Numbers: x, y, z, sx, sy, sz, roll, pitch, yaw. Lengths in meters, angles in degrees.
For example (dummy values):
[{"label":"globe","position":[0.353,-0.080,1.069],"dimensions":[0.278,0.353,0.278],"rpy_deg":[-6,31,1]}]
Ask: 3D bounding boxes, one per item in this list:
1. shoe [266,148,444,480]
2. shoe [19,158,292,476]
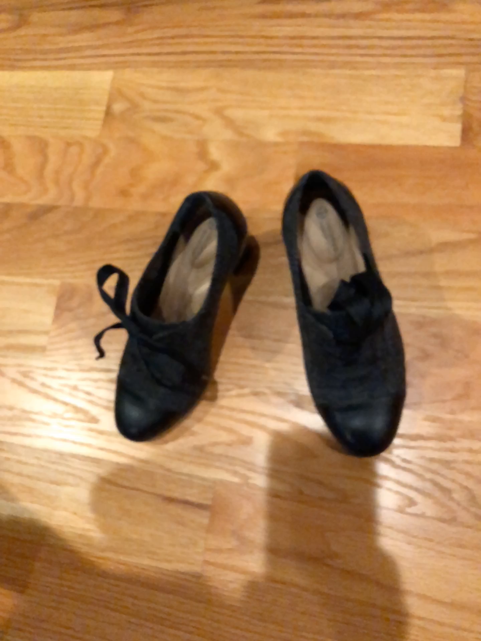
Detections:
[{"label":"shoe","position":[0.085,0.004,0.426],"dimensions":[0.088,0.125,0.223],"rpy_deg":[-8,75,10]},{"label":"shoe","position":[-0.057,0.004,0.456],"dimensions":[0.093,0.125,0.223],"rpy_deg":[27,83,17]}]
